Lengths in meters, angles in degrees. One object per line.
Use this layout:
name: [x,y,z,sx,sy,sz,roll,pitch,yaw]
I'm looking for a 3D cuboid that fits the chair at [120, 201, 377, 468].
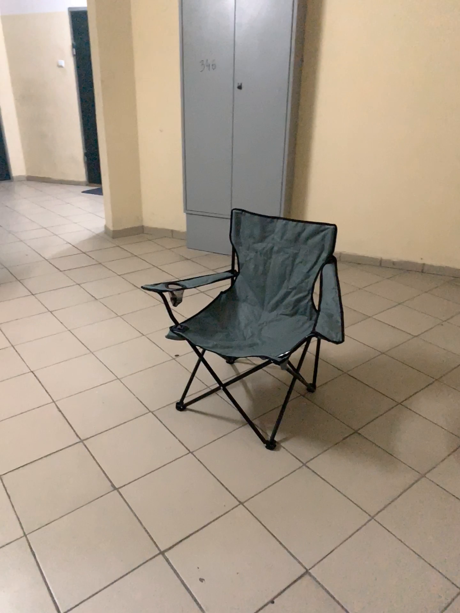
chair: [0.078,0.045,1.909,0.801,0.756,0.562,13,27,25]
